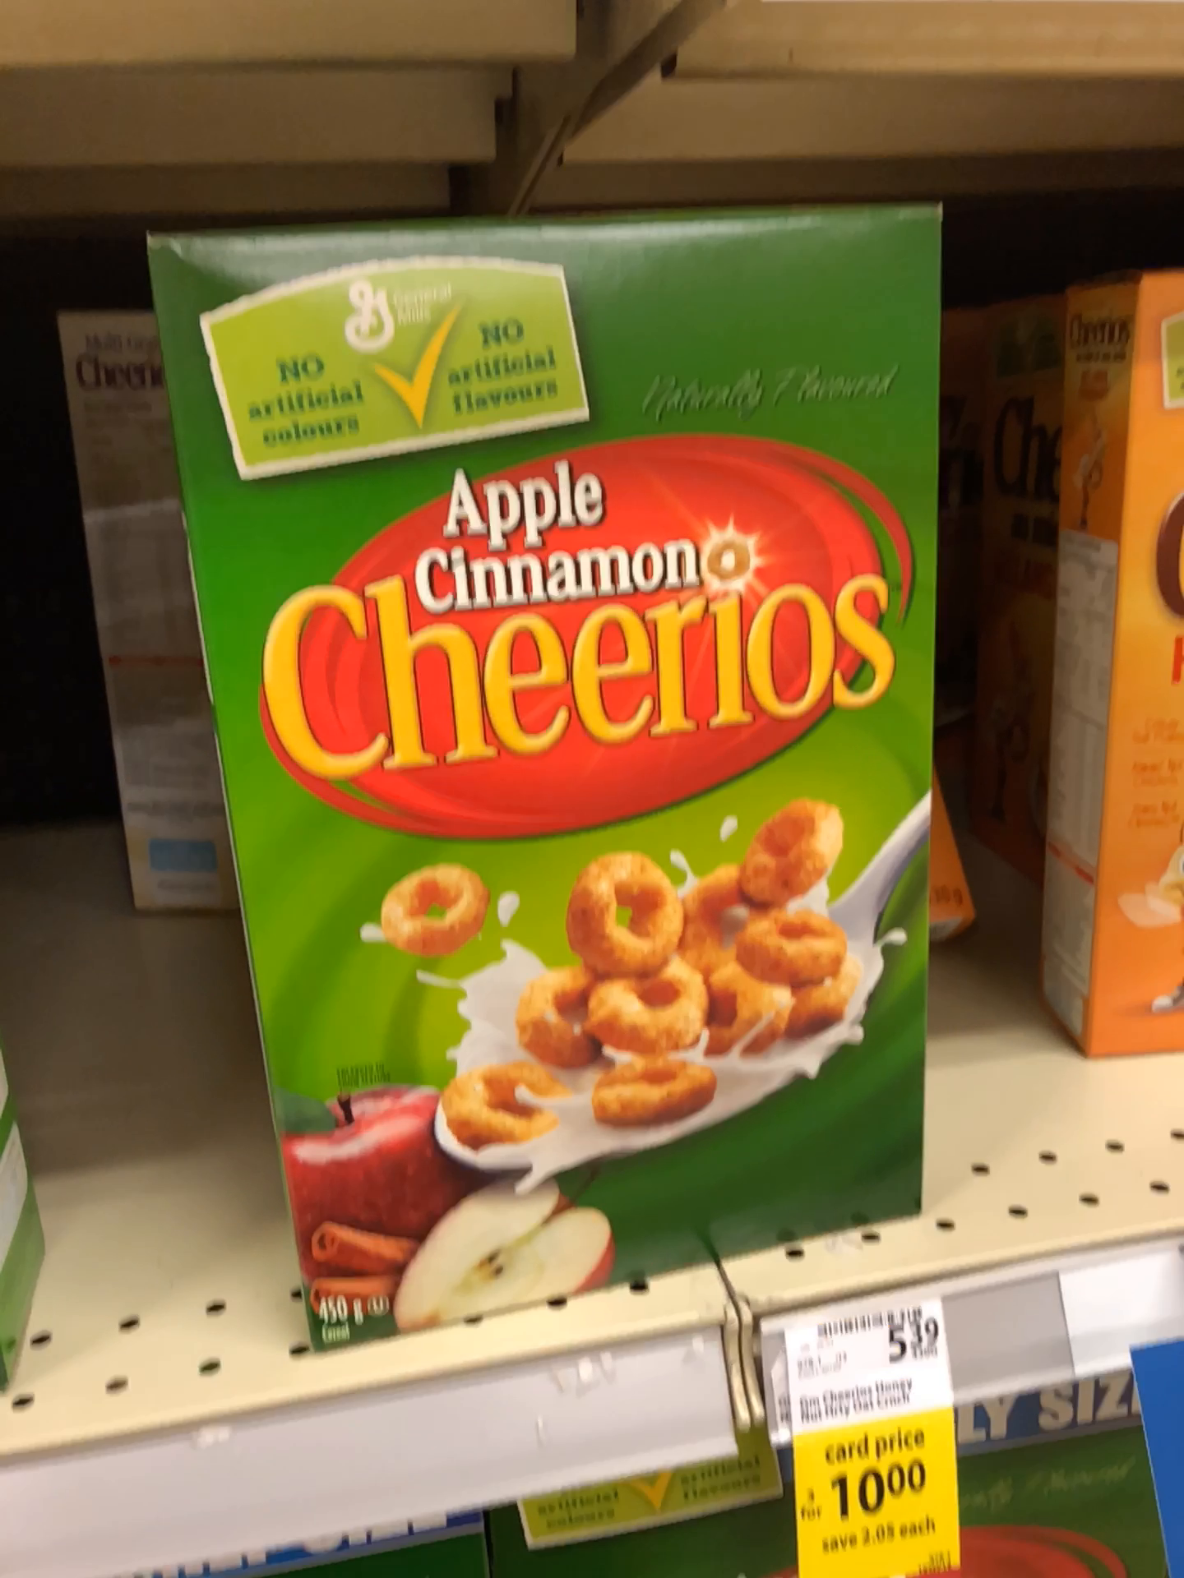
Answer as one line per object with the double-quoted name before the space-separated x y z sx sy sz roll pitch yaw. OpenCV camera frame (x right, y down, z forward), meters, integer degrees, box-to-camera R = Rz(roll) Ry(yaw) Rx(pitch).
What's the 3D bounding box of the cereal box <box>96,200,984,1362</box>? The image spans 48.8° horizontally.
"cereal box" -0.005 -0.005 0.374 0.210 0.289 0.070 -8 18 -15
